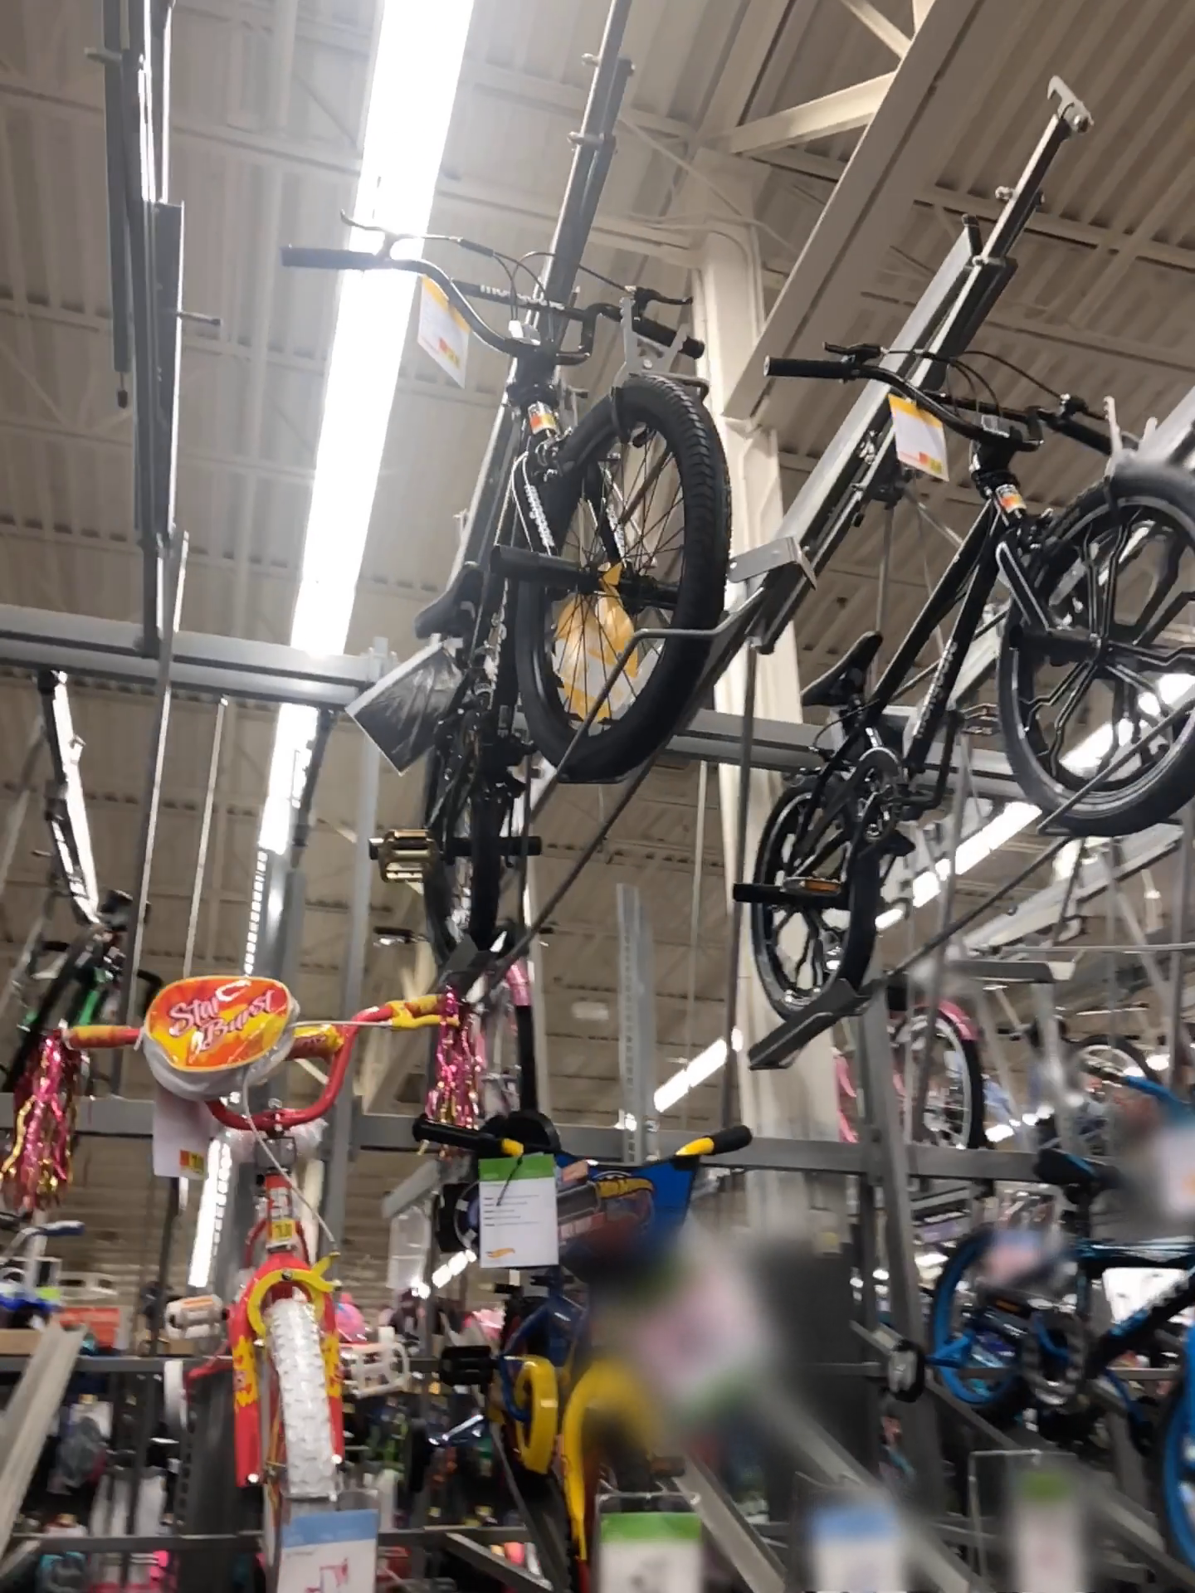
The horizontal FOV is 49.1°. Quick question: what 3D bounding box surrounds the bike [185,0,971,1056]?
[{"bbox_3d":[-0.174,-0.248,2.054,0.754,0.909,1.346,8,-28,-15],"label":"bike"}]
